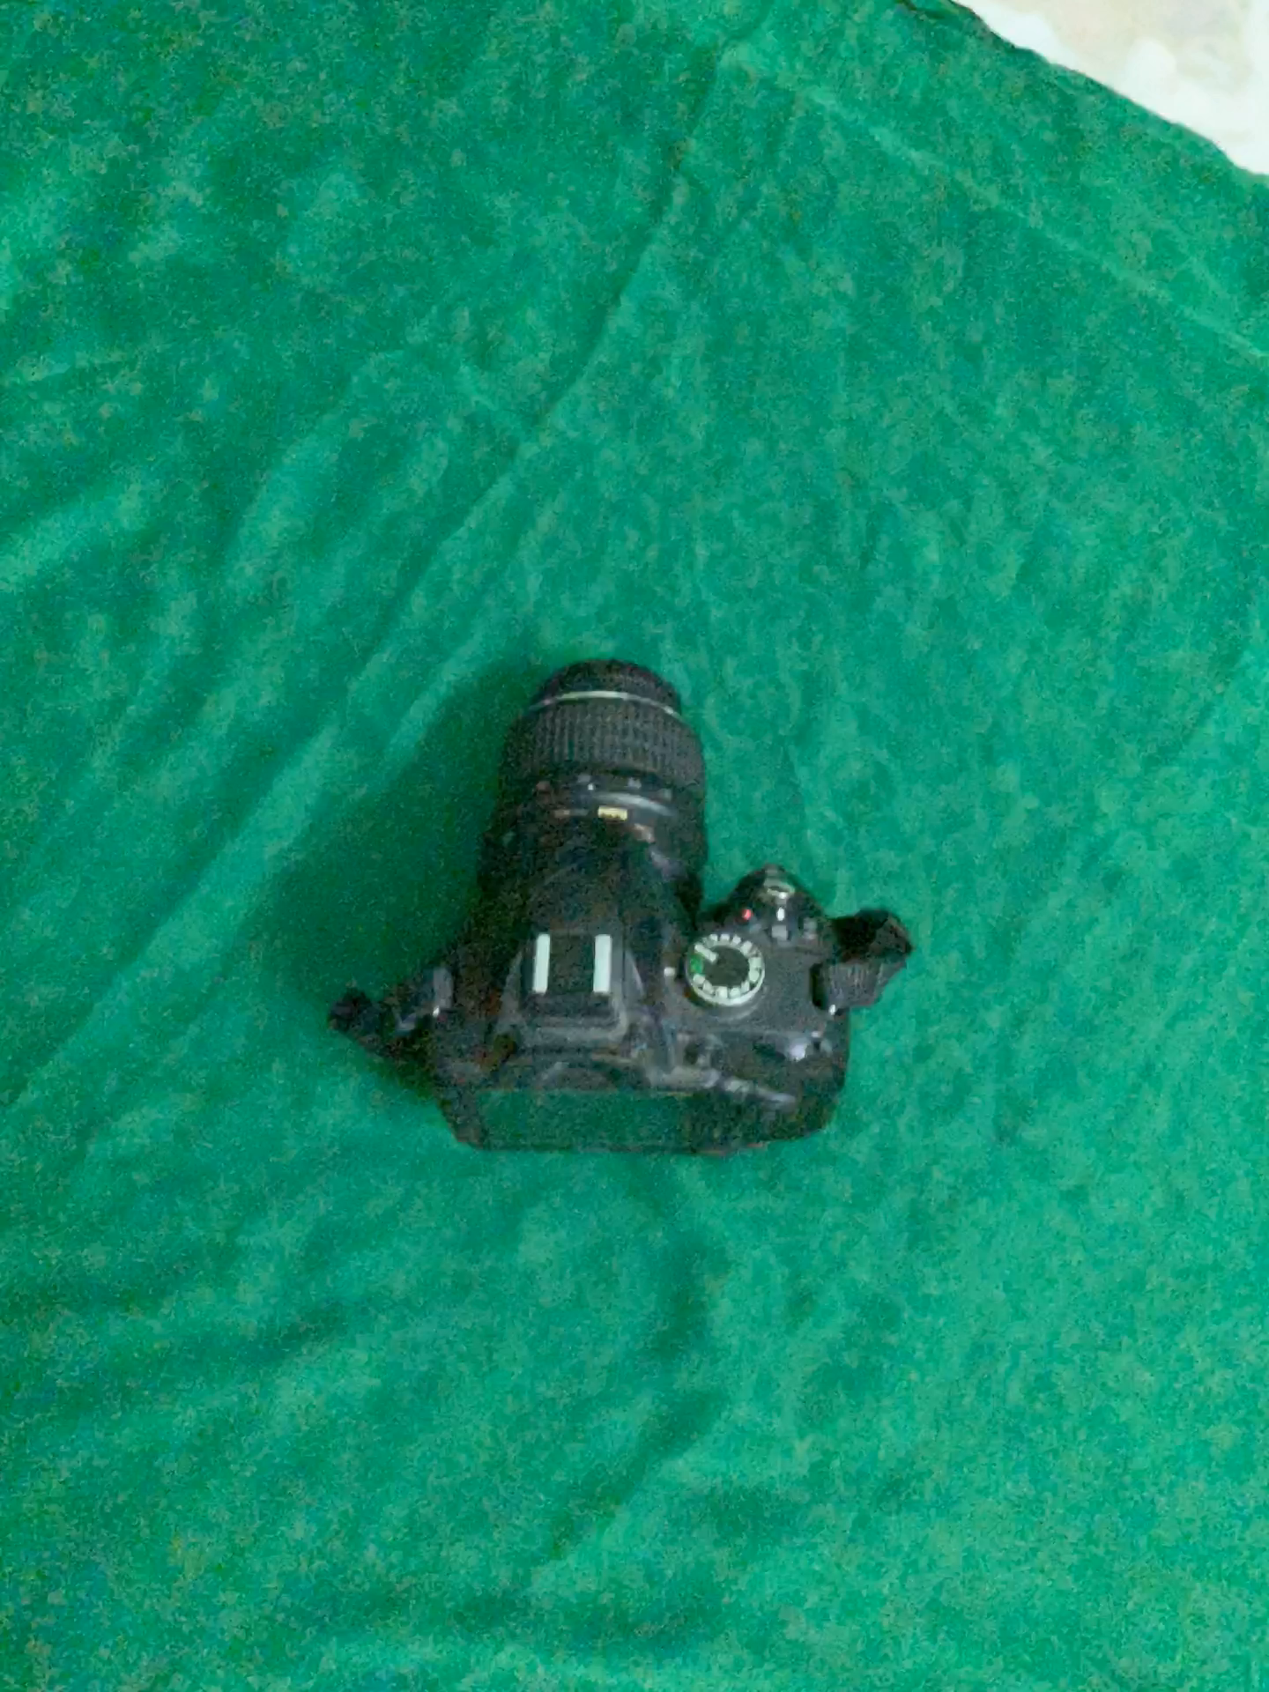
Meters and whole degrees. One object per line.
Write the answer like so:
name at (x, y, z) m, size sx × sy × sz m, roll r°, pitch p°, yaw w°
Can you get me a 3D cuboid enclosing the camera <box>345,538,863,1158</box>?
camera at (-0.007, 0.003, 0.419) m, size 0.133 × 0.100 × 0.166 m, roll 2°, pitch 64°, yaw -1°
